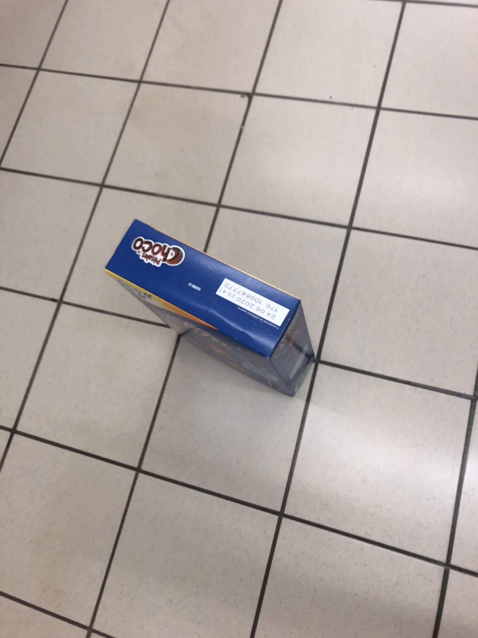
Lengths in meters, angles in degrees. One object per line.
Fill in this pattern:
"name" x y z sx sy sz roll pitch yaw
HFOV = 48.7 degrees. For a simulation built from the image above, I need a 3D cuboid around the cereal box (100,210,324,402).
"cereal box" -0.011 -0.001 0.612 0.200 0.250 0.070 27 80 17
